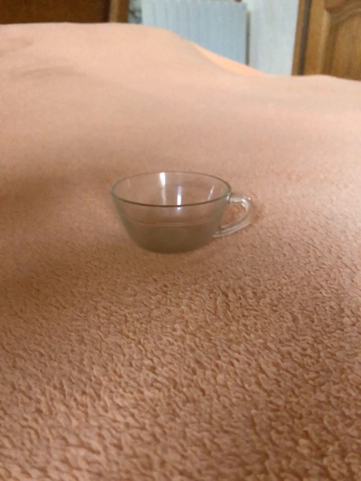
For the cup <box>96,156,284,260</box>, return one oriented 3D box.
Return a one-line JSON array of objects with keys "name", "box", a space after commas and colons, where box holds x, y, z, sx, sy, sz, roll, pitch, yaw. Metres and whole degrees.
[{"name": "cup", "box": [0.006, -0.027, 0.285, 0.110, 0.040, 0.090, -2, 26, 0]}]
